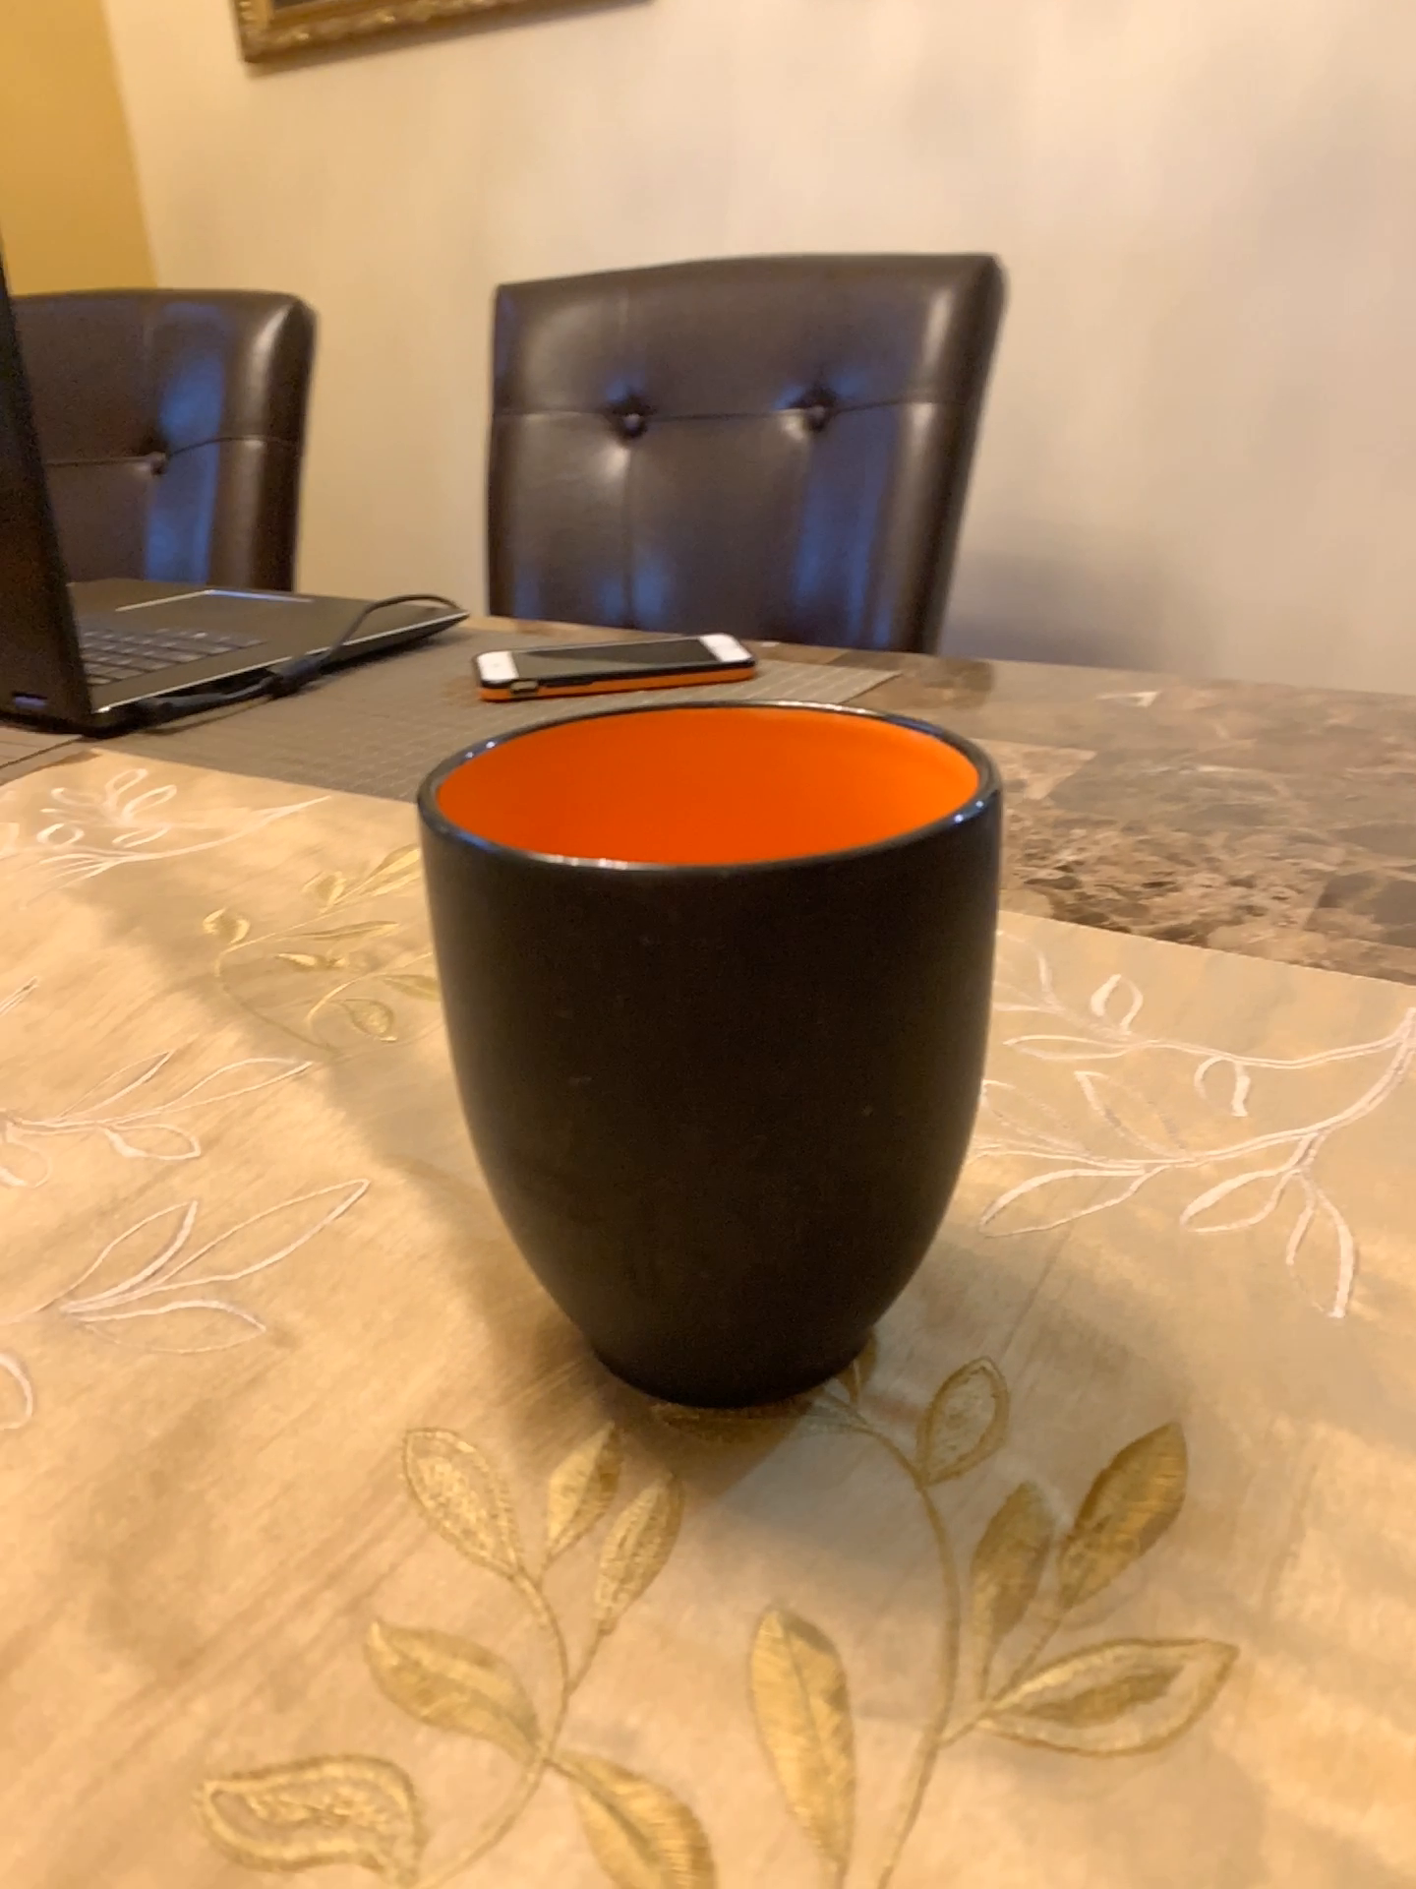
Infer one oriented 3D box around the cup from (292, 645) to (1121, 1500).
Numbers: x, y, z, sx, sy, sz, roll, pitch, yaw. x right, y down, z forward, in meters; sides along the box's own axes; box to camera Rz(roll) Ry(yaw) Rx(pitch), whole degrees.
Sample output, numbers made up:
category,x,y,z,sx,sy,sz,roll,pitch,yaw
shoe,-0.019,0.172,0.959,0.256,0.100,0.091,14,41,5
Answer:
category,x,y,z,sx,sy,sz,roll,pitch,yaw
cup,-0.009,0.007,0.269,0.099,0.087,0.133,-12,25,-20
